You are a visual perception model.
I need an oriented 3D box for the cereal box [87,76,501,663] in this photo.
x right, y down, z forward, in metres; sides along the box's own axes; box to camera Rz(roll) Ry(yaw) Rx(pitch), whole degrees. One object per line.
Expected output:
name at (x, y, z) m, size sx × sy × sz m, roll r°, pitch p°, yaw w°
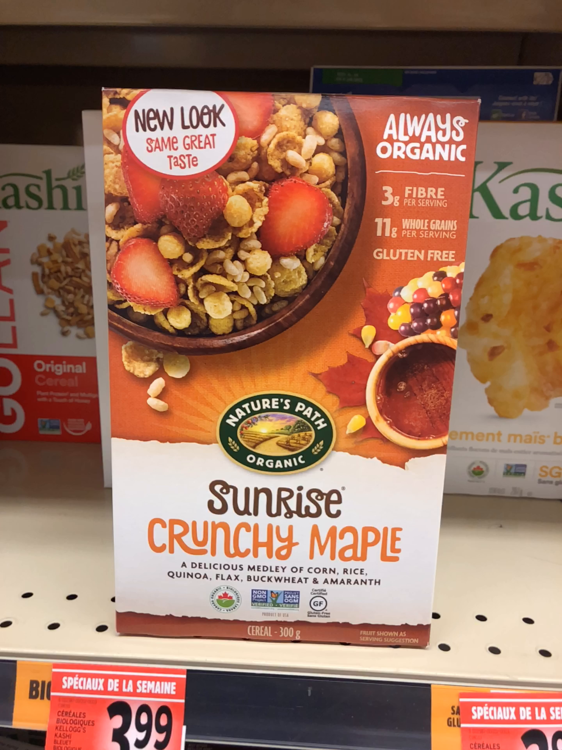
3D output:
cereal box at (0.002, 0.003, 0.315) m, size 0.170 × 0.269 × 0.060 m, roll 2°, pitch 13°, yaw 2°
